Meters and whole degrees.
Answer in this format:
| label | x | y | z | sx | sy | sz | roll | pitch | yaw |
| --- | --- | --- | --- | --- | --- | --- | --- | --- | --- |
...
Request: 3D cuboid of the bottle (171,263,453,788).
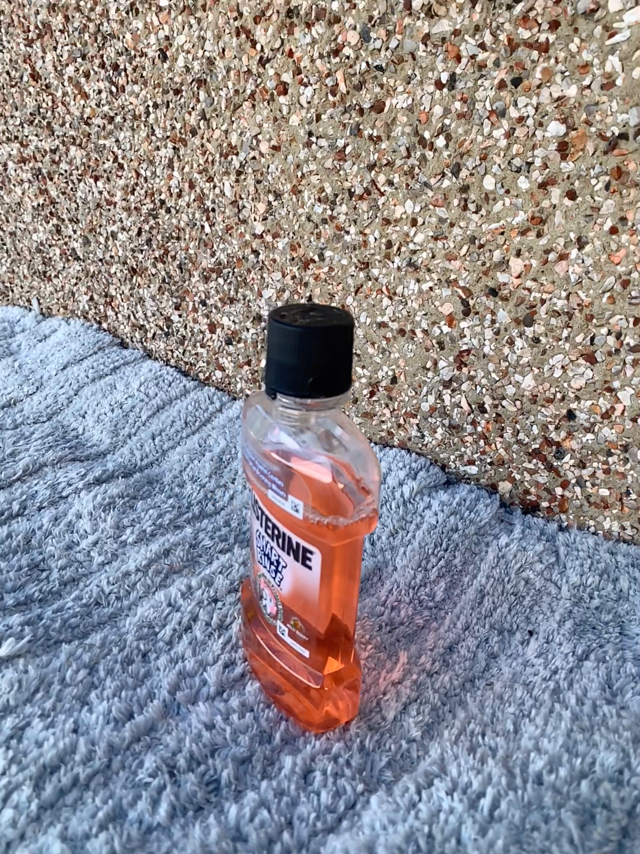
| label | x | y | z | sx | sy | sz | roll | pitch | yaw |
| --- | --- | --- | --- | --- | --- | --- | --- | --- | --- |
| bottle | -0.006 | 0.031 | 0.242 | 0.050 | 0.159 | 0.091 | -15 | 29 | -28 |
